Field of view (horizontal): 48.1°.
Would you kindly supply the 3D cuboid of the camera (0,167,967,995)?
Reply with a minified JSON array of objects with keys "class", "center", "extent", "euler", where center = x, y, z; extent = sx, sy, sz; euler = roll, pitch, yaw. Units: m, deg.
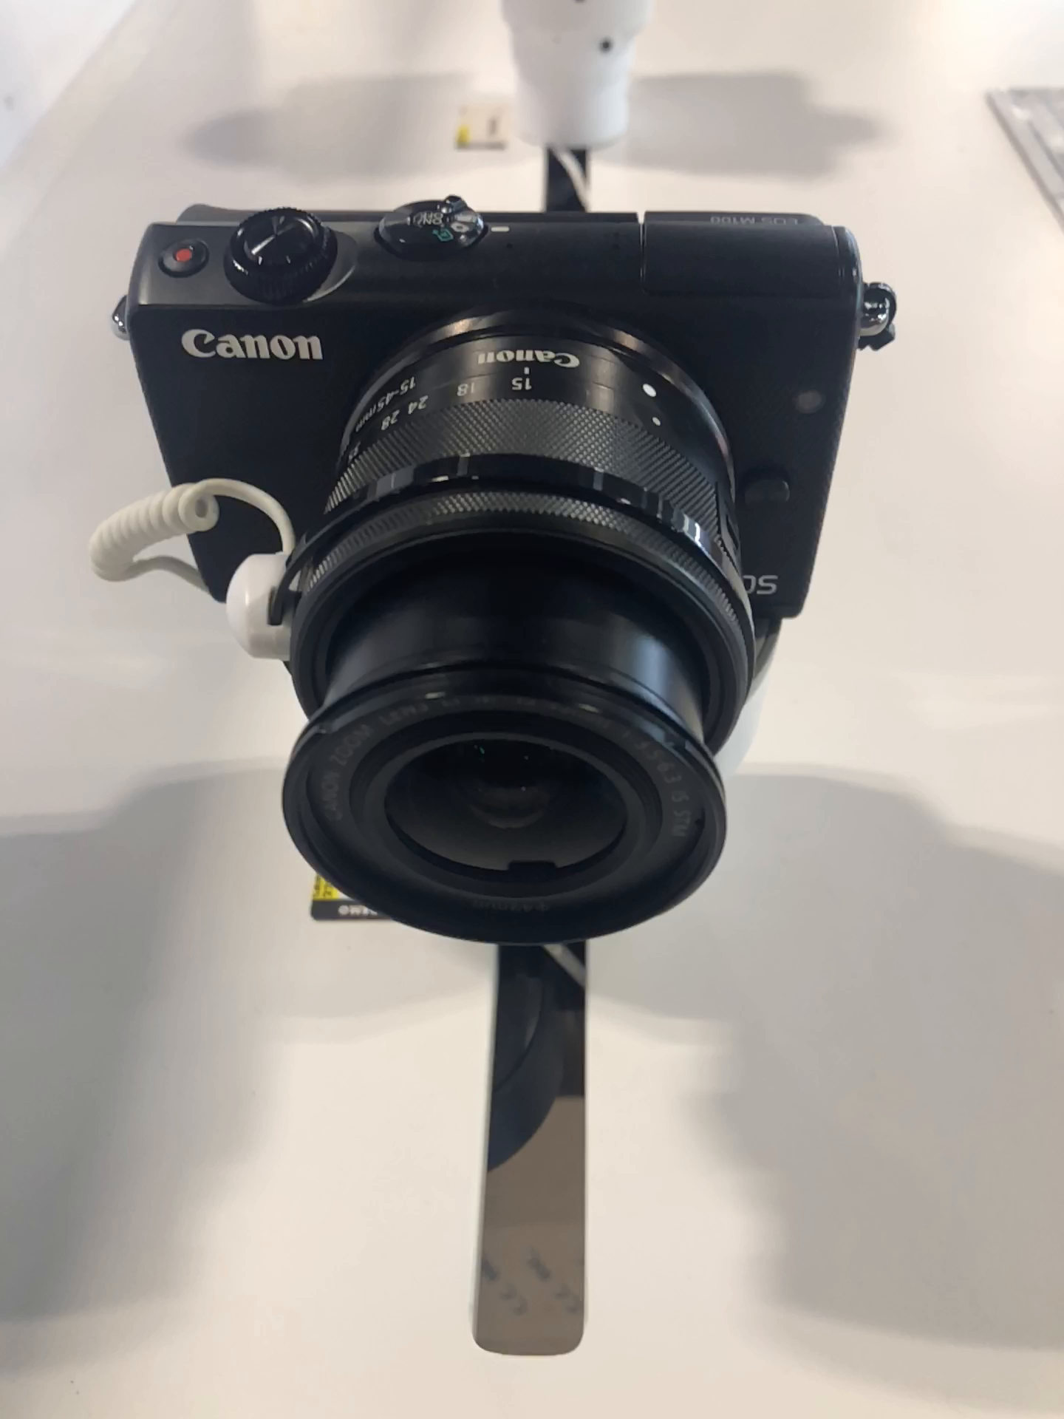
[{"class":"camera","center":[-0.010,-0.021,0.170],"extent":[0.110,0.072,0.091],"euler":[2,47,5]}]
